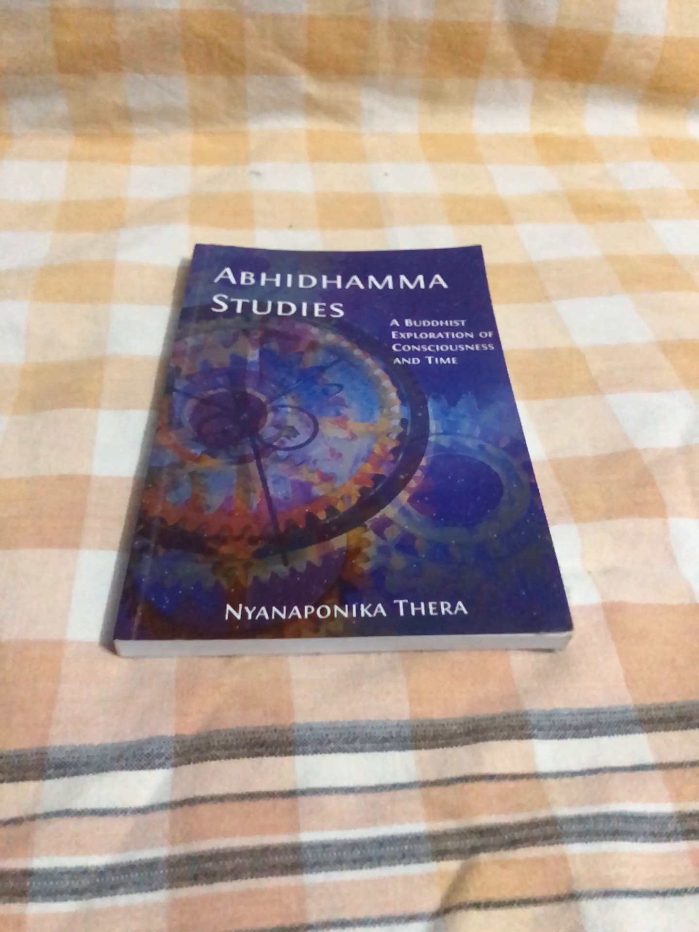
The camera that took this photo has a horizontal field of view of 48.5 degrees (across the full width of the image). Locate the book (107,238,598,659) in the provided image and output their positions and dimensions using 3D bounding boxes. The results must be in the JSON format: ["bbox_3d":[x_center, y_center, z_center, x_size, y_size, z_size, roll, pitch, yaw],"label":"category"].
[{"bbox_3d":[-0.001,-0.023,0.314,0.150,0.020,0.211,1,48,-4],"label":"book"}]
